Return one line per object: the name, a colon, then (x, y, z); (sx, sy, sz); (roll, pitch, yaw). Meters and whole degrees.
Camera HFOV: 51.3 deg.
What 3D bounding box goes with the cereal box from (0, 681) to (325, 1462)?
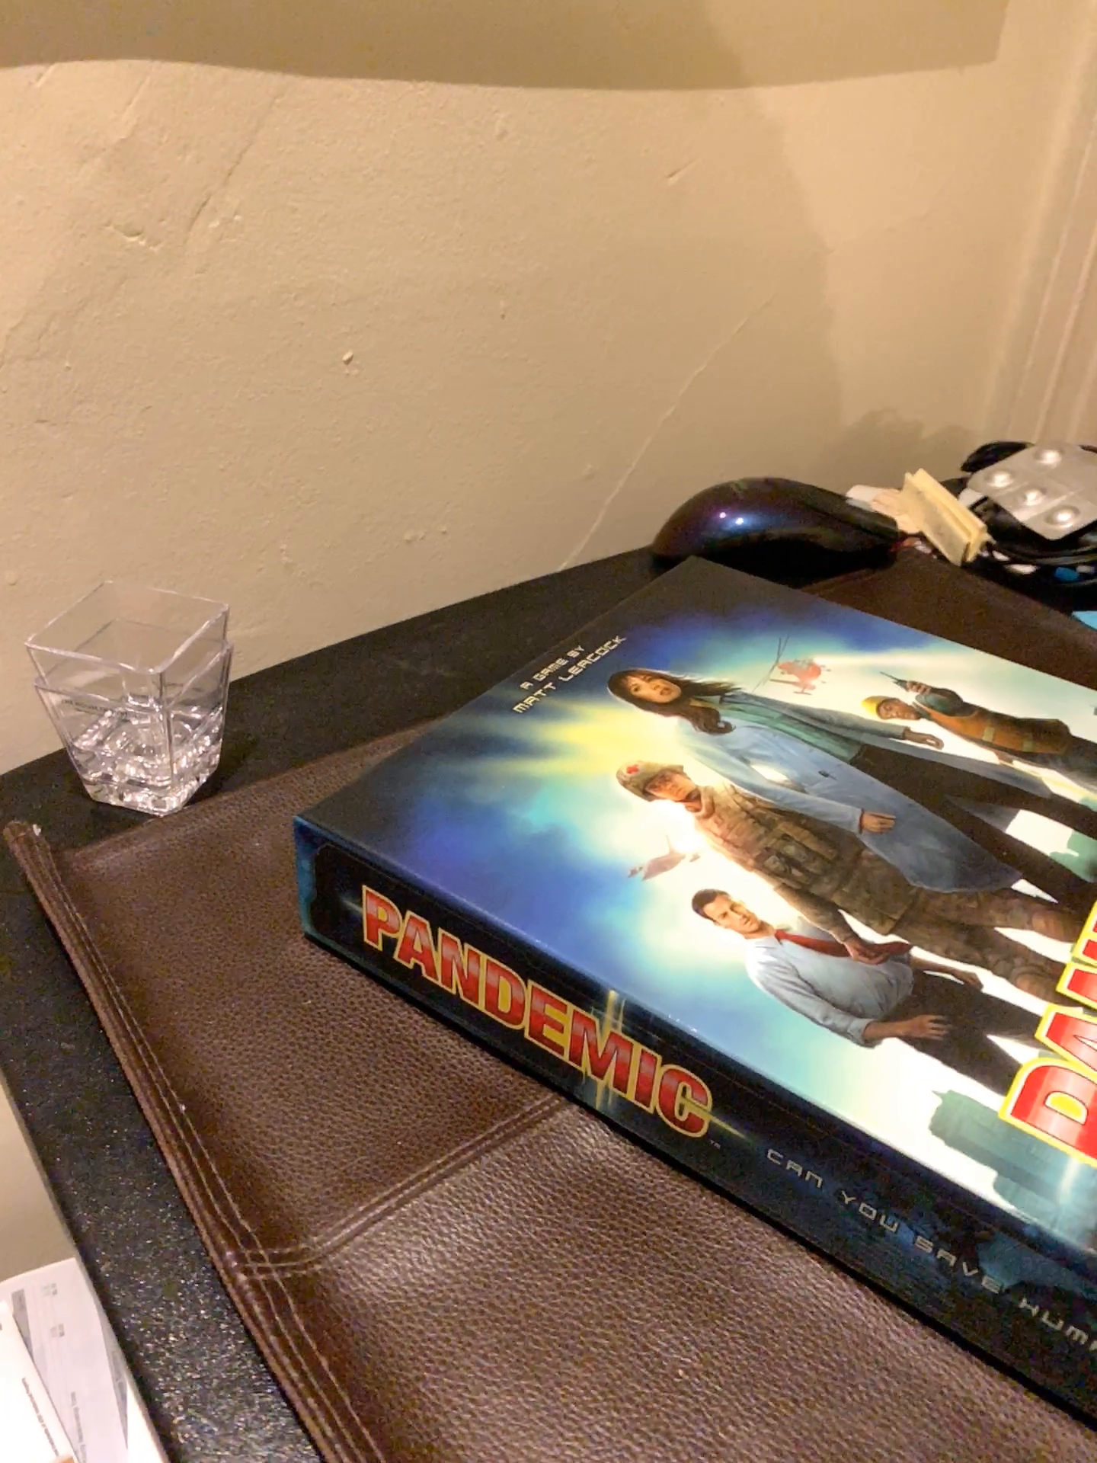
cereal box: (-0.522, 0.526, 0.860); (0.510, 0.994, 0.473); (4, 35, 3)
